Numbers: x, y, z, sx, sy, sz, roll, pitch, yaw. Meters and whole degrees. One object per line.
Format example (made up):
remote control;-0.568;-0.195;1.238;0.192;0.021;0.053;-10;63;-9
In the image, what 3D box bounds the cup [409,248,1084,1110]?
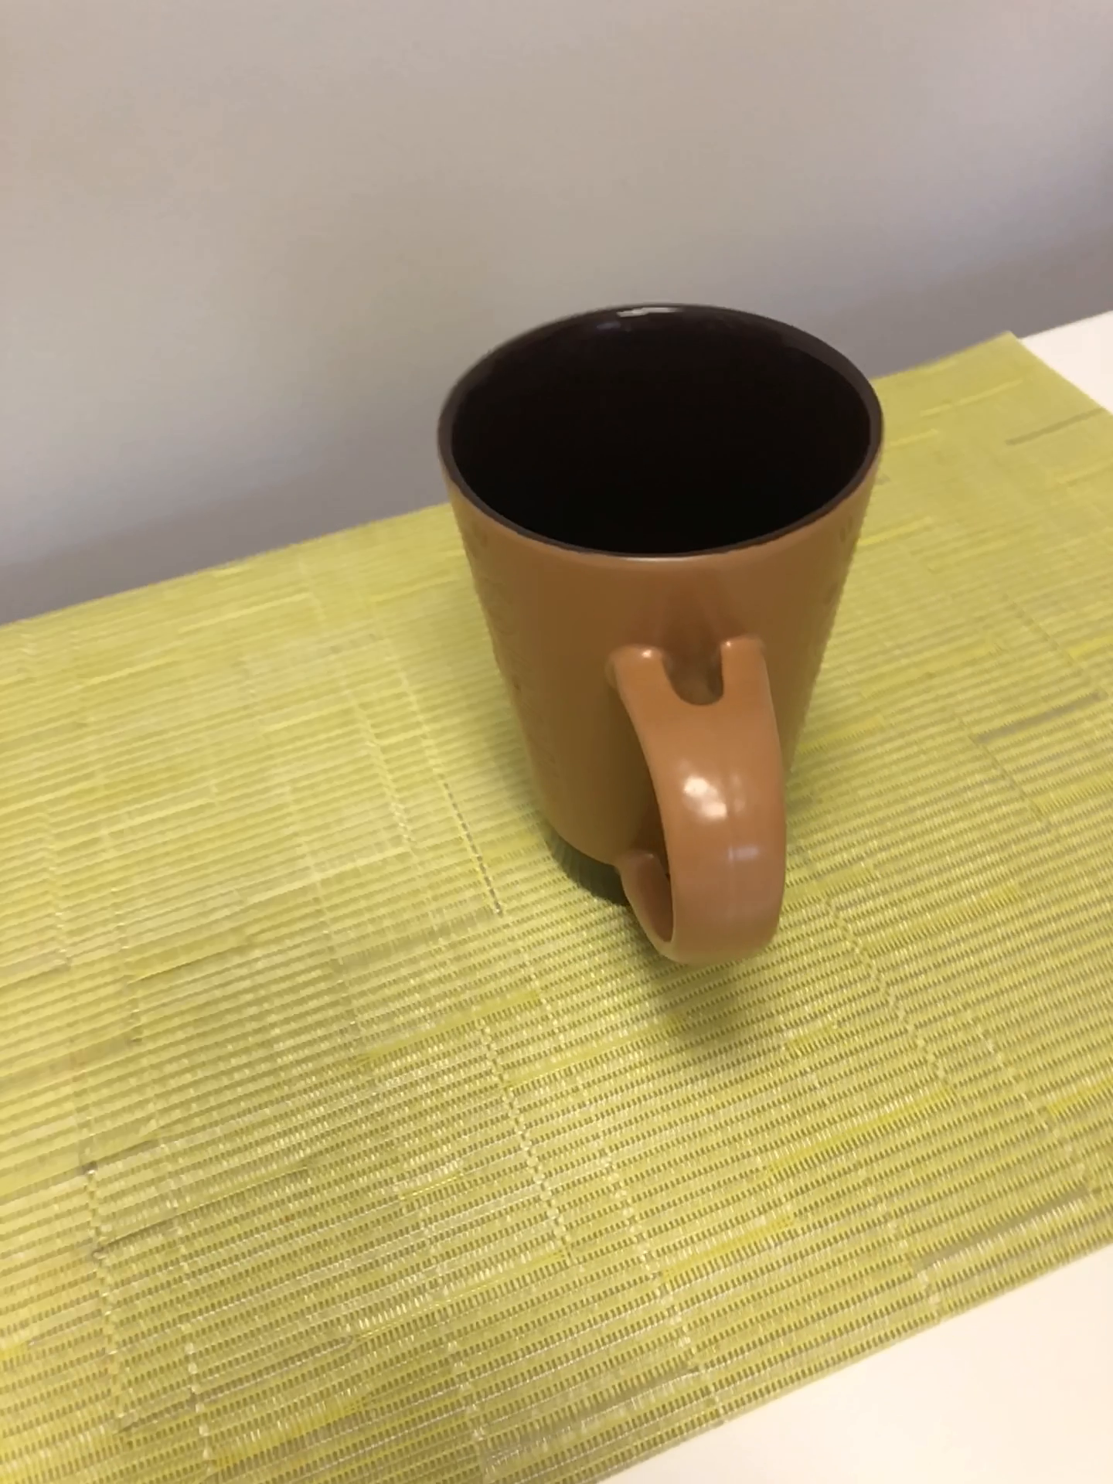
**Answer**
cup;0.027;-0.015;0.268;0.090;0.119;0.127;-10;46;-4
